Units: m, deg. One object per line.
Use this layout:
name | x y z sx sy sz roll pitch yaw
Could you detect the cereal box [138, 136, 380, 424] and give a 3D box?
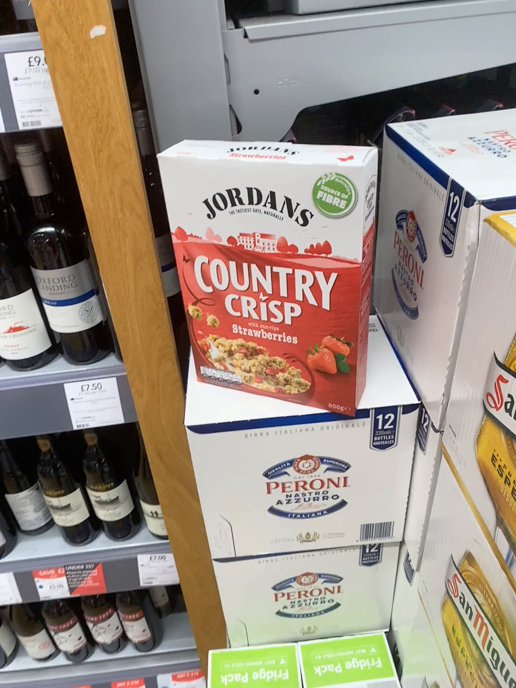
cereal box | 0.007 -0.055 0.492 0.190 0.248 0.050 10 37 22
